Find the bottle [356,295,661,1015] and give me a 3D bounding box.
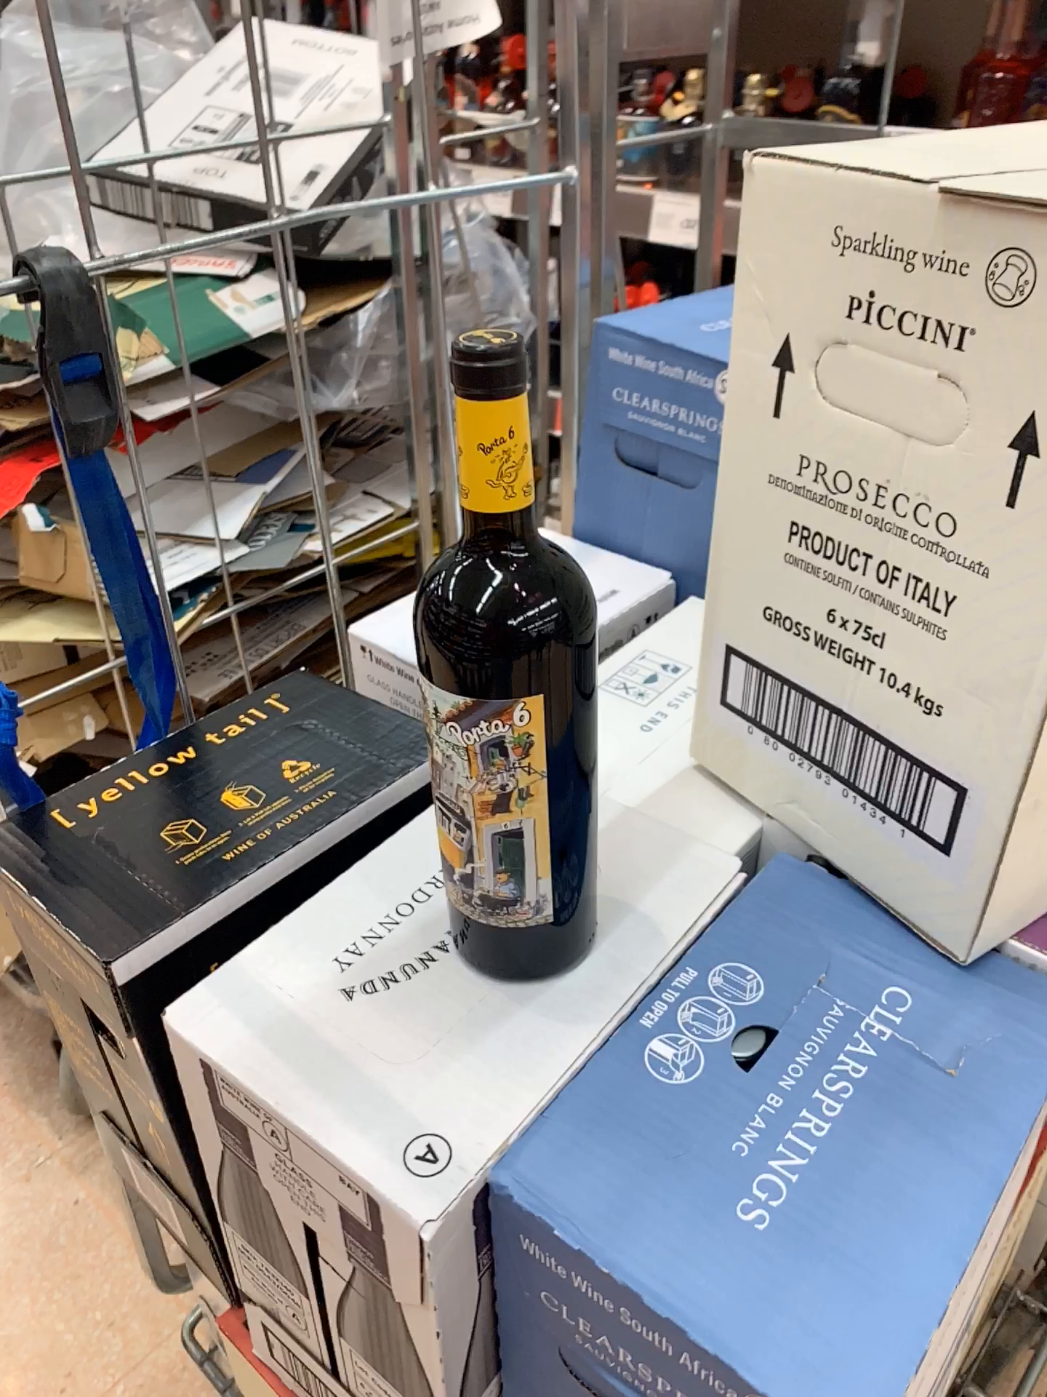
[{"bbox_3d":[-0.005,-0.007,0.466,0.078,0.295,0.077,0,33,0],"label":"bottle"}]
